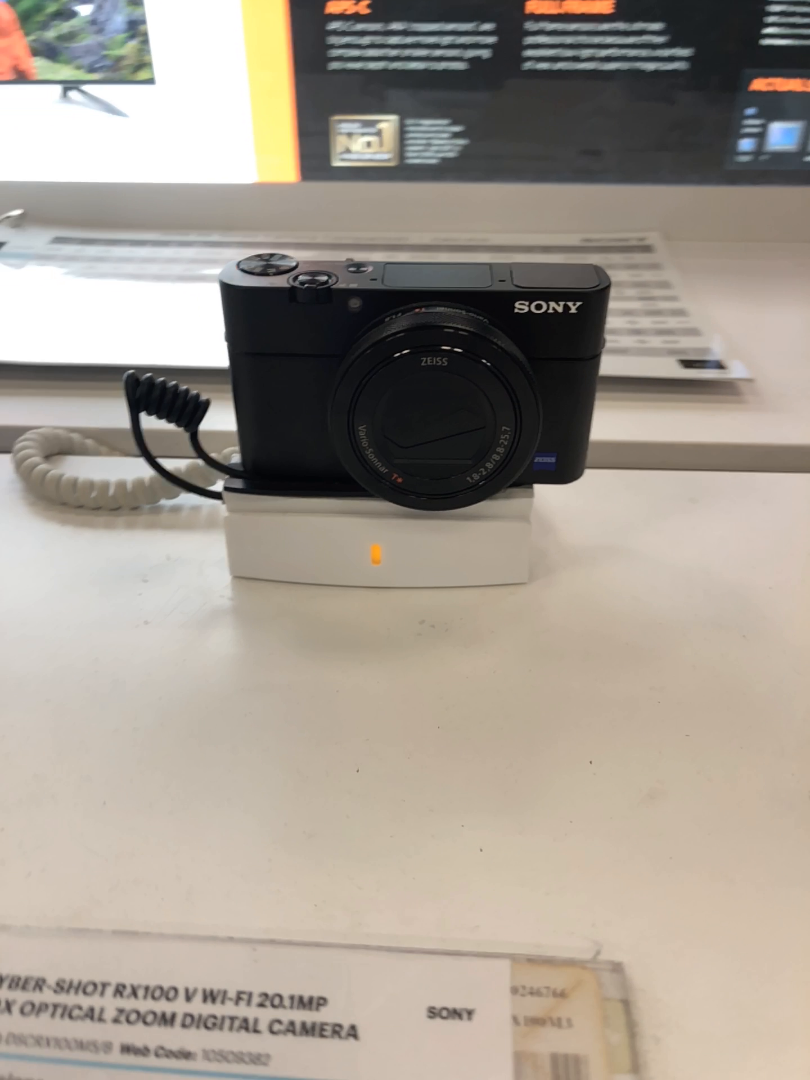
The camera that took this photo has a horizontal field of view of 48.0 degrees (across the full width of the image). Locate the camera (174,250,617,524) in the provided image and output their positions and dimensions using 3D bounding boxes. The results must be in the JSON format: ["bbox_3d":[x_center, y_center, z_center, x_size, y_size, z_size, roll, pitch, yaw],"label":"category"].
[{"bbox_3d":[-0.002,-0.042,0.259,0.110,0.070,0.030,1,40,2],"label":"camera"}]
